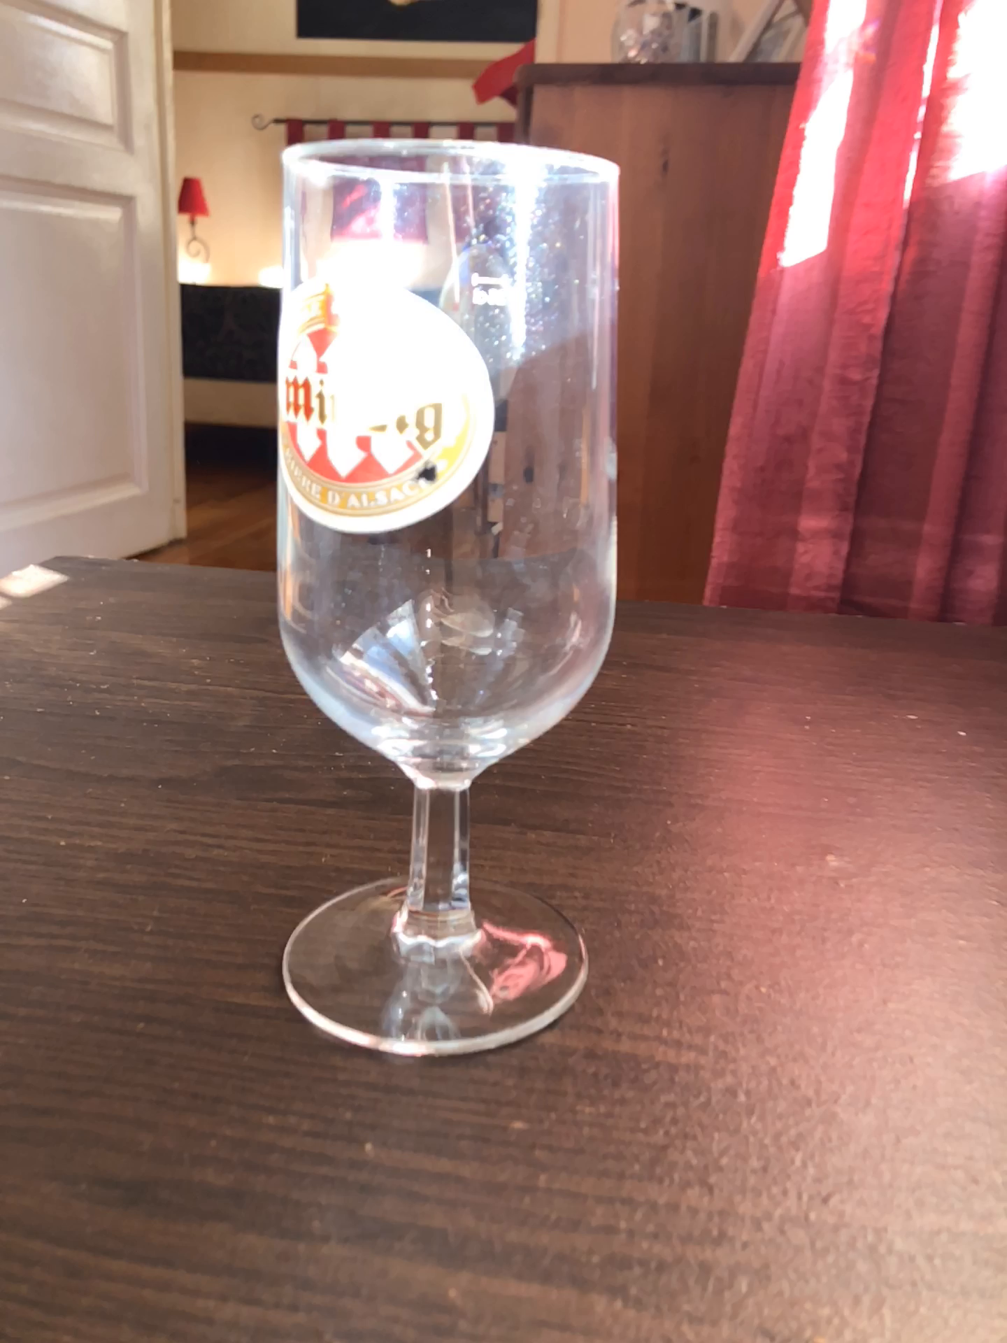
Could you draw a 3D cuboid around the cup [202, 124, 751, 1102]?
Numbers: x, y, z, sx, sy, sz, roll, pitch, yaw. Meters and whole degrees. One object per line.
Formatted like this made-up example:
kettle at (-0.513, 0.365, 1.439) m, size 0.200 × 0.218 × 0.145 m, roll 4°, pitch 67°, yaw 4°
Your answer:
cup at (-0.007, -0.014, 0.215) m, size 0.067 × 0.155 × 0.070 m, roll 3°, pitch 18°, yaw -1°
